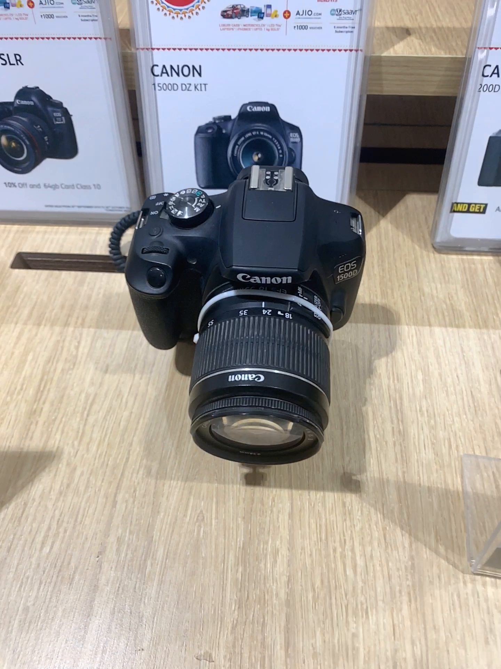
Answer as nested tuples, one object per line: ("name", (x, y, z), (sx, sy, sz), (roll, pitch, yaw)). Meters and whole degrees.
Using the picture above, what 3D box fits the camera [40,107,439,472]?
("camera", (0.000, -0.027, 0.270), (0.140, 0.100, 0.160), (1, 53, 3))
